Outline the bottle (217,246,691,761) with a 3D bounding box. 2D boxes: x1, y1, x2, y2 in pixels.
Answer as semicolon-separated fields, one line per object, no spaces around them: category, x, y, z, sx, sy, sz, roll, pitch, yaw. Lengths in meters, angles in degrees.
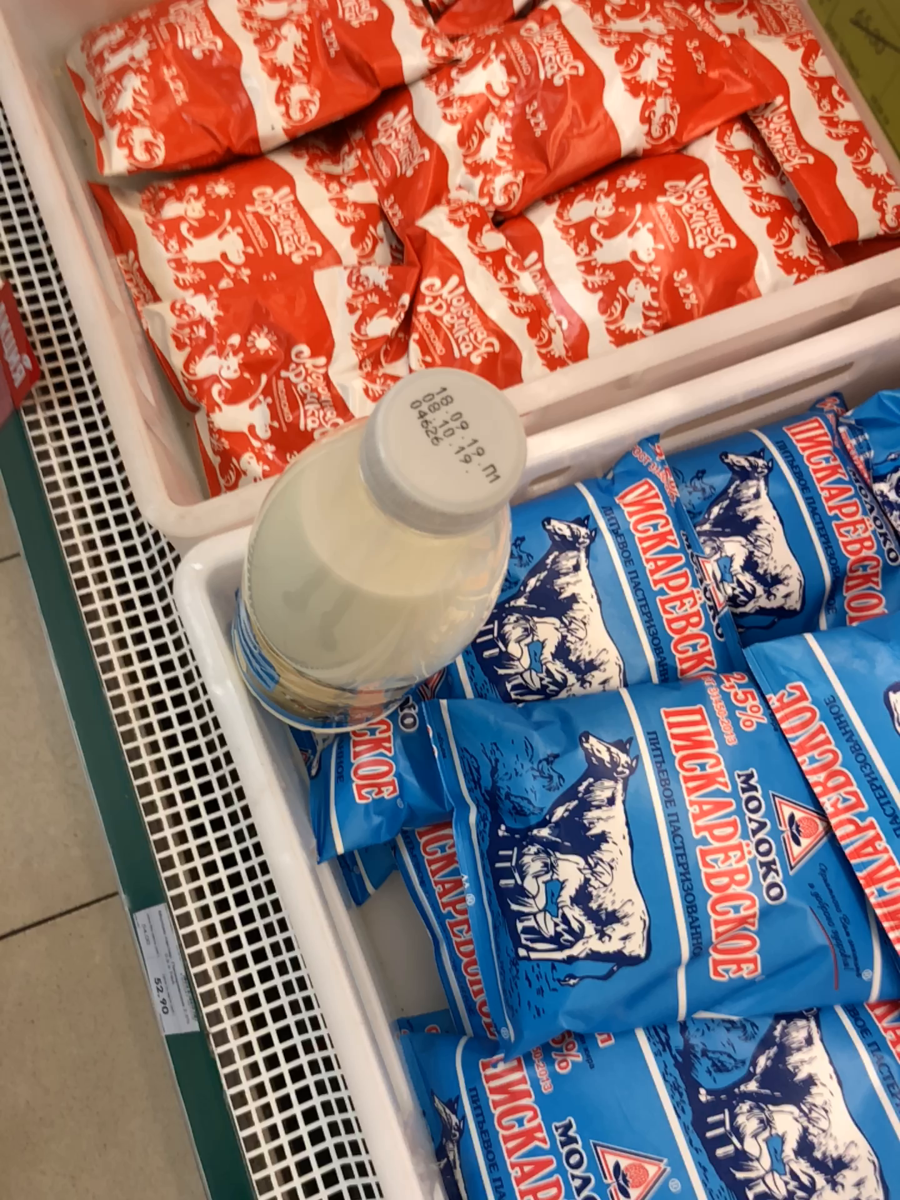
bottle;-0.023;-0.014;0.357;0.090;0.230;0.090;5;71;-15
